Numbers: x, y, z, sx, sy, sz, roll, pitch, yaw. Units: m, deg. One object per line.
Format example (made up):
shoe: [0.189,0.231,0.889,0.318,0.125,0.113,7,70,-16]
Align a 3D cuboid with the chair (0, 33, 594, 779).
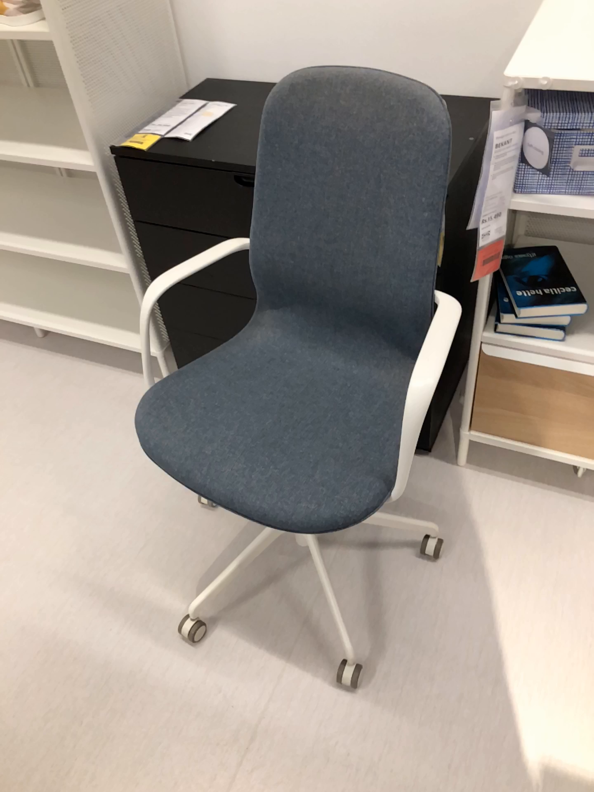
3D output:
chair: [-0.049,0.015,1.229,0.701,0.993,0.703,-33,50,-24]
